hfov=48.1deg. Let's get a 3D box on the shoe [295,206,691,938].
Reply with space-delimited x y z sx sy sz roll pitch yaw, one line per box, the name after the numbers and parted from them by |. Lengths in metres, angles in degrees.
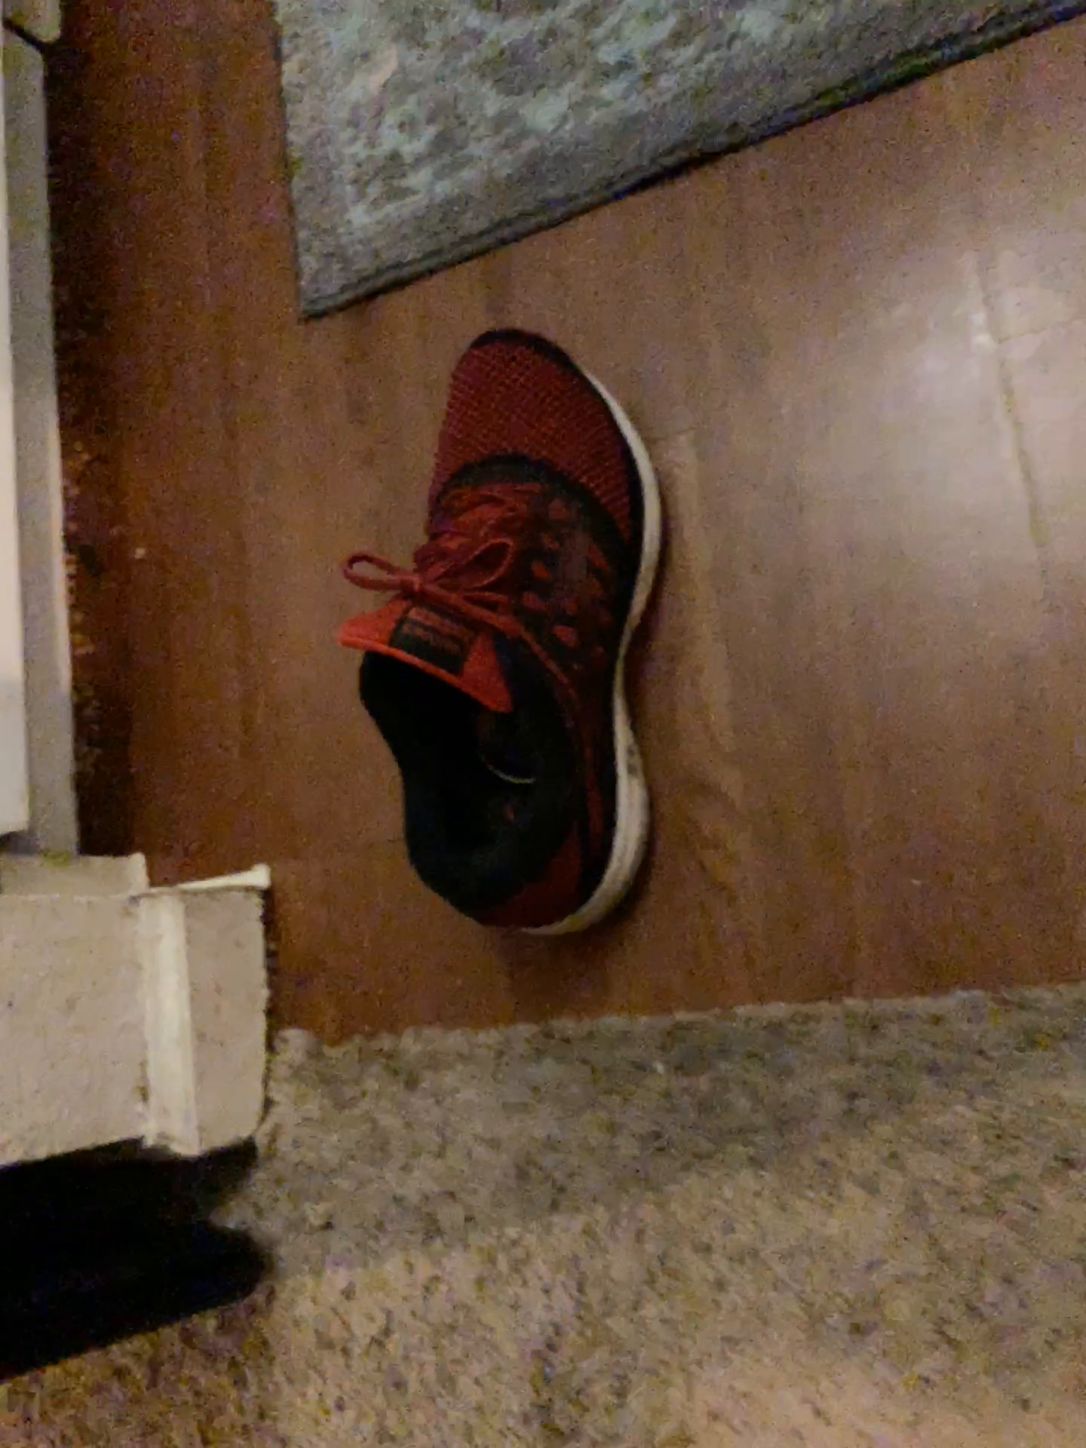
-0.022 -0.054 0.577 0.130 0.140 0.300 -6 80 24 | shoe
